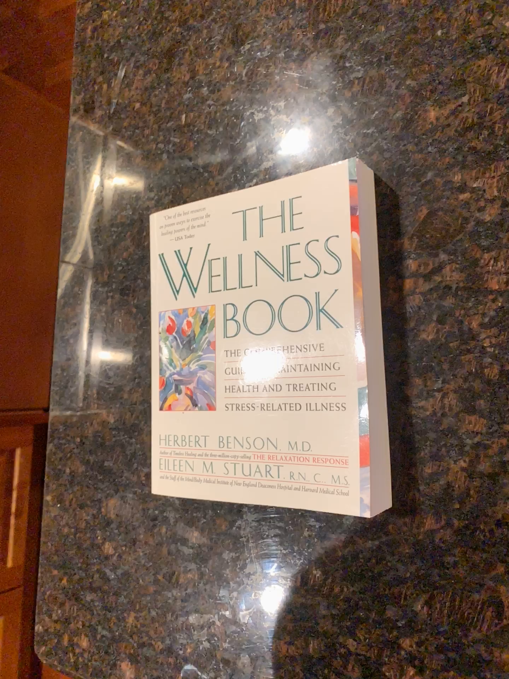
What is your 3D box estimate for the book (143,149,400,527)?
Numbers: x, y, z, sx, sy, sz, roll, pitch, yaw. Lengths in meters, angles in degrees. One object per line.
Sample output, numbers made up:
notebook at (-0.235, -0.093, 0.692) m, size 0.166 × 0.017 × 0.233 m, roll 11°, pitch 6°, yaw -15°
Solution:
book at (0.004, 0.004, 0.407) m, size 0.188 × 0.060 × 0.240 m, roll -5°, pitch 83°, yaw 32°
